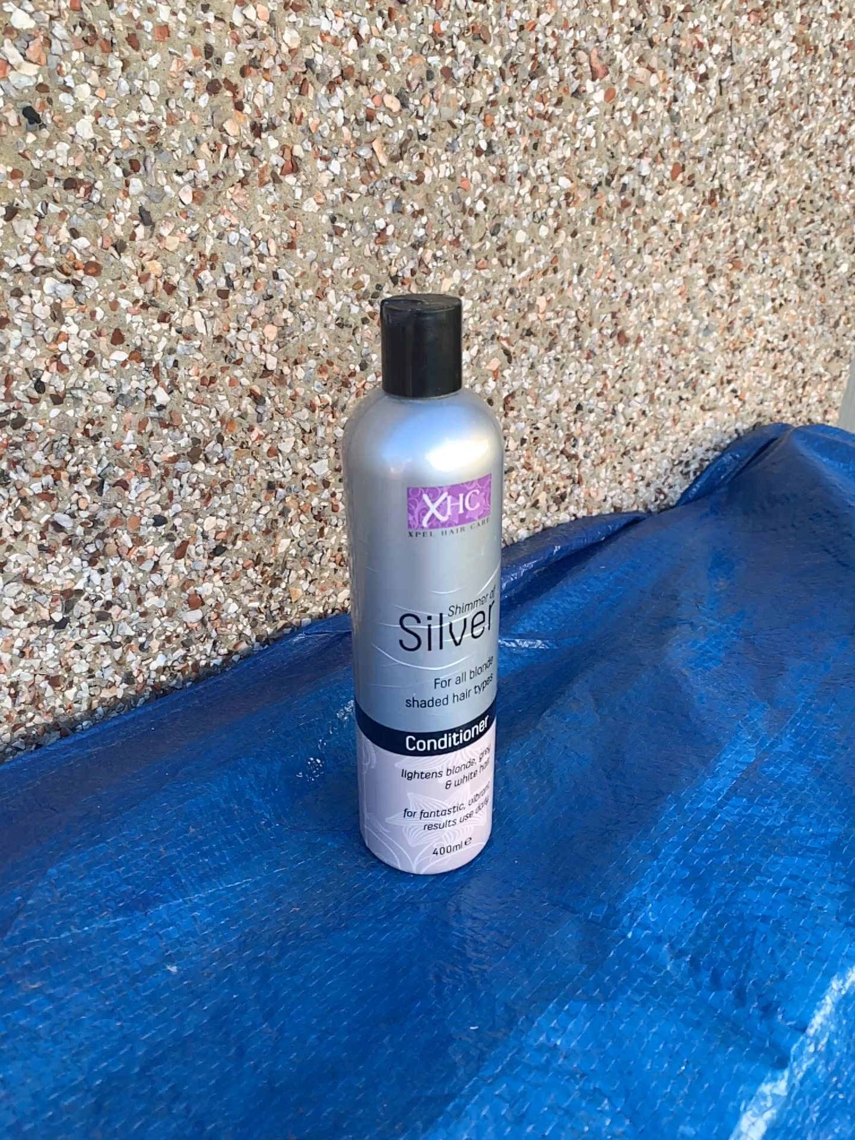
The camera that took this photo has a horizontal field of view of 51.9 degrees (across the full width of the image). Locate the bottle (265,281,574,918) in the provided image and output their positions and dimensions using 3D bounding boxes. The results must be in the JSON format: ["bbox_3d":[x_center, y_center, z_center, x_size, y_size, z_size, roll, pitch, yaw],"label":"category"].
[{"bbox_3d":[-0.003,0.014,0.297,0.070,0.198,0.060,-13,30,-20],"label":"bottle"}]
